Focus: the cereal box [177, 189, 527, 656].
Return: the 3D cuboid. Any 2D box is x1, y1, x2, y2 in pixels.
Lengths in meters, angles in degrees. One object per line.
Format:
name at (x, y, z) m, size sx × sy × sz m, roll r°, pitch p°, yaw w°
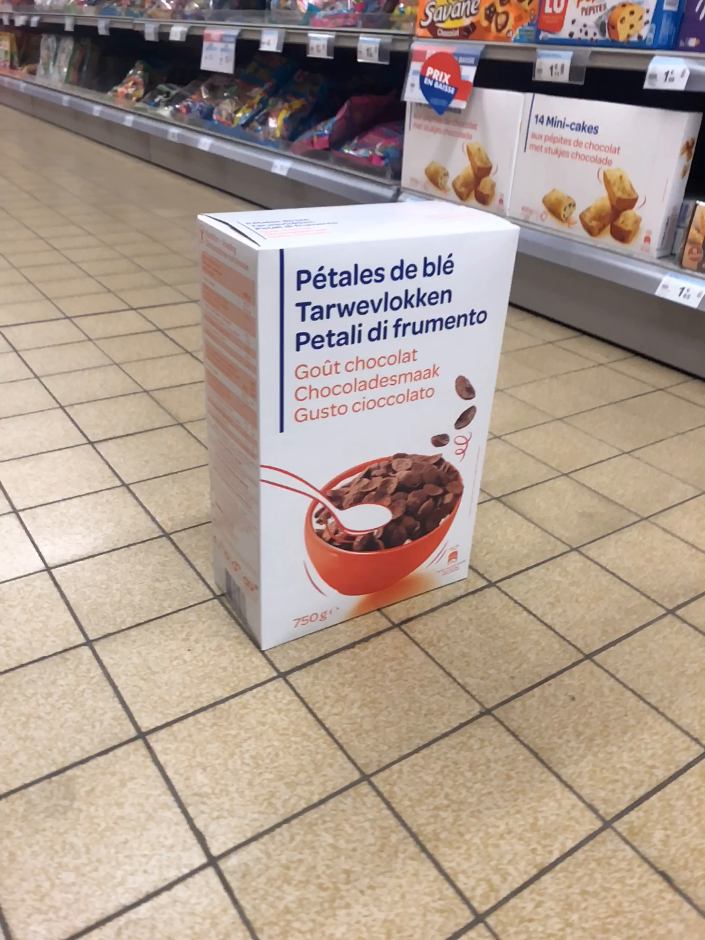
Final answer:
cereal box at (-0.006, -0.040, 0.558) m, size 0.201 × 0.288 × 0.100 m, roll -14°, pitch 33°, yaw -30°
